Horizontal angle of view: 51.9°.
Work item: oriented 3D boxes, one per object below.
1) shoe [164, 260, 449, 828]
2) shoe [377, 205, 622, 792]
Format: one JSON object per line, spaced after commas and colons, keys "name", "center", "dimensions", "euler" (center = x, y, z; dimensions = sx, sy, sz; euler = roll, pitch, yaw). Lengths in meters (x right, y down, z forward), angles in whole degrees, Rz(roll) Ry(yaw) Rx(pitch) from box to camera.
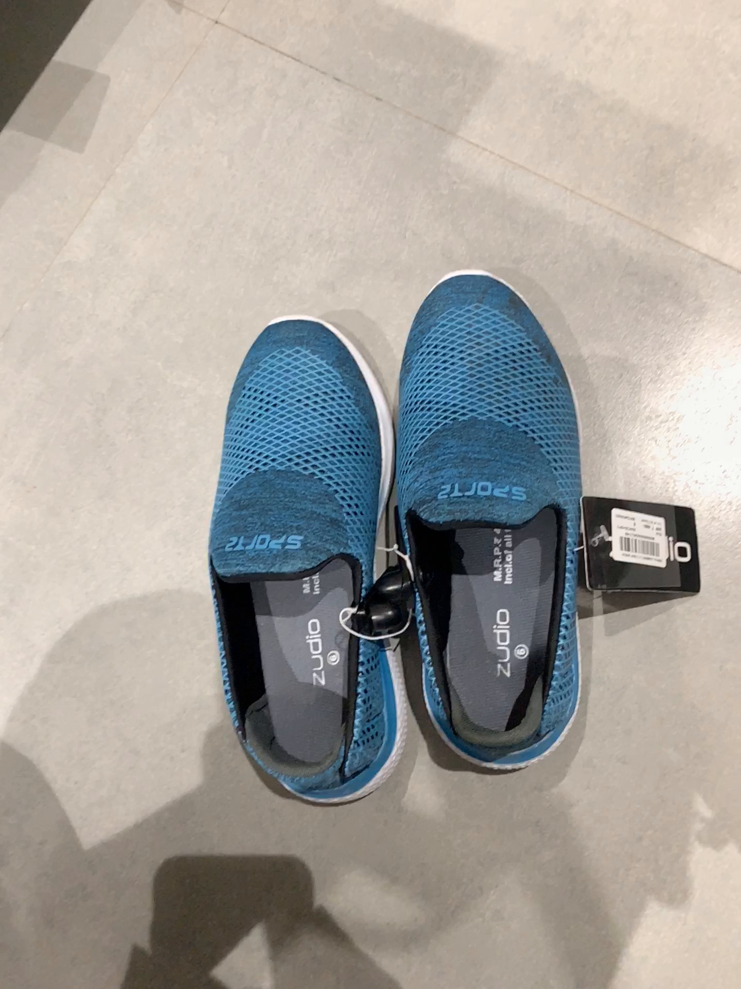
{"name": "shoe", "center": [-0.033, 0.025, 0.402], "dimensions": [0.110, 0.080, 0.260], "euler": [-8, 79, 11]}
{"name": "shoe", "center": [0.060, 0.003, 0.368], "dimensions": [0.090, 0.080, 0.250], "euler": [-4, 80, 12]}
